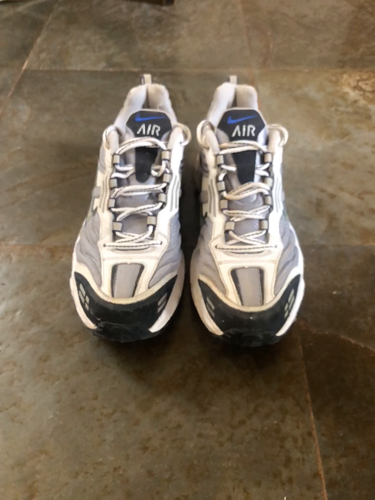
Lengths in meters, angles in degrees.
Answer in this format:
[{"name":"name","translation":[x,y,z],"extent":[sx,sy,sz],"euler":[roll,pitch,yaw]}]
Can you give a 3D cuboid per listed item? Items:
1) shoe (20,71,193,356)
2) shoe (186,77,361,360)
[{"name":"shoe","translation":[-0.053,-0.048,0.398],"extent":[0.110,0.119,0.262],"euler":[0,50,0]},{"name":"shoe","translation":[0.054,-0.044,0.391],"extent":[0.110,0.109,0.262],"euler":[0,50,0]}]
